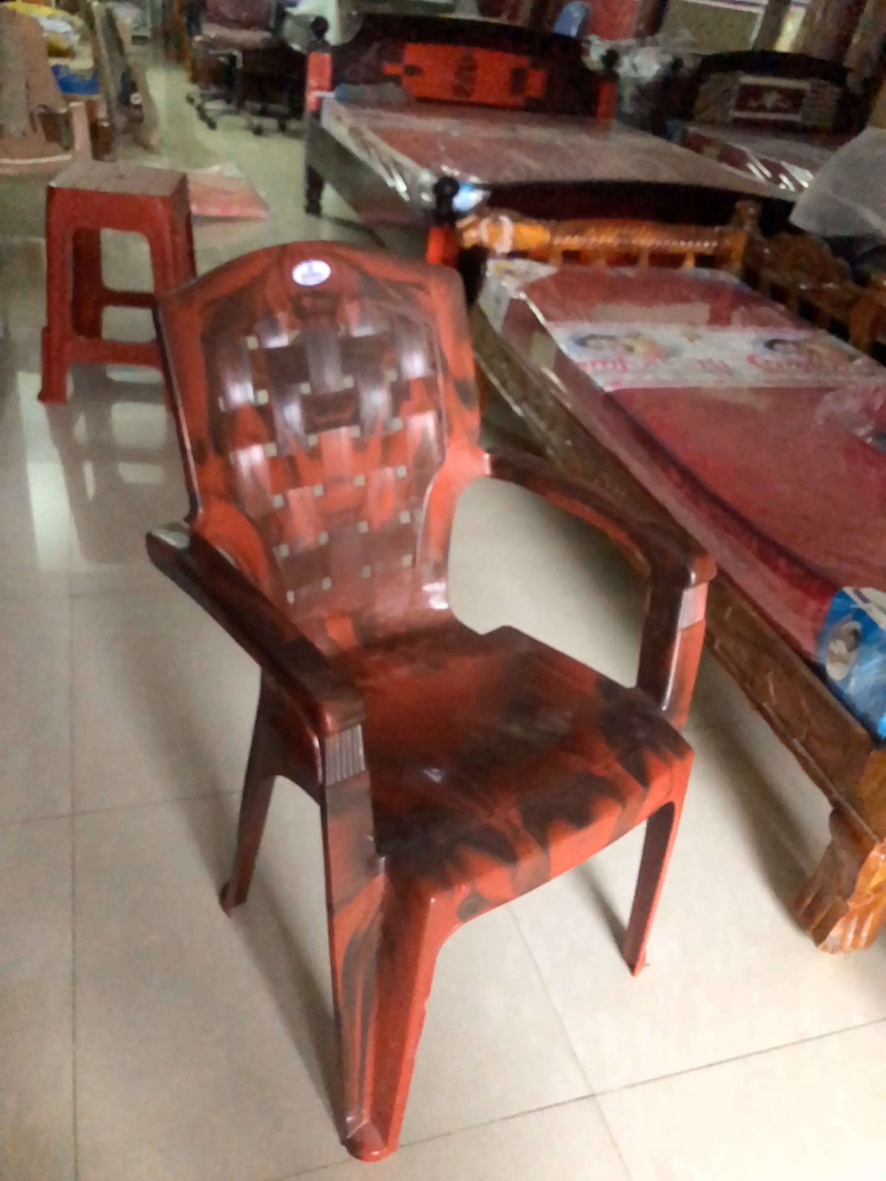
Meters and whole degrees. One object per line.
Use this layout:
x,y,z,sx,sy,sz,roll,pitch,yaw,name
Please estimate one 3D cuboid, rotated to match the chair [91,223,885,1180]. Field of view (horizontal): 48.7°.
-0.015,0.098,1.164,0.532,0.865,0.561,-18,41,-34,chair
